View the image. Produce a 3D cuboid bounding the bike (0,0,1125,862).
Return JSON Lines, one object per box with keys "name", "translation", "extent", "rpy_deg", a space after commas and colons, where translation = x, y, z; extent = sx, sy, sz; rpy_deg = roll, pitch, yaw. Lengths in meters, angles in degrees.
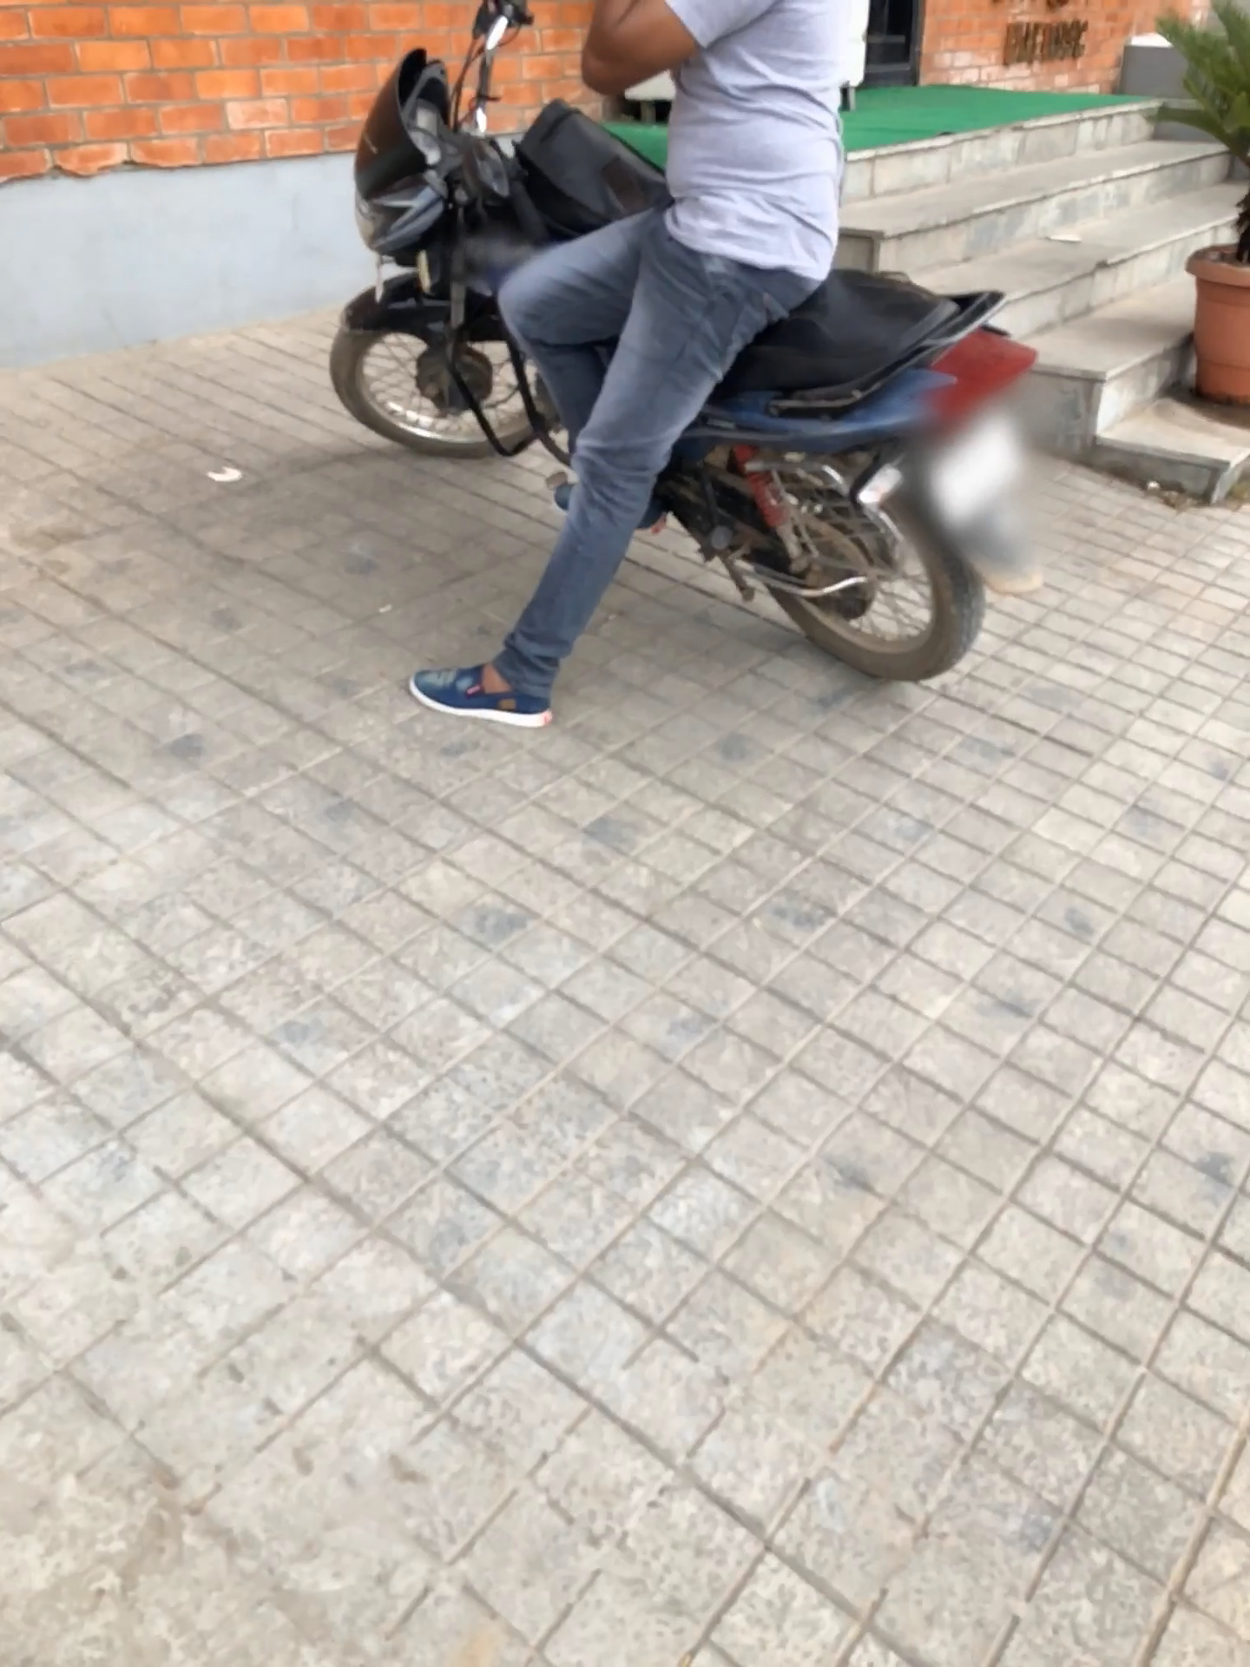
{"name": "bike", "translation": [-0.222, -1.053, 2.652], "extent": [1.821, 1.344, 0.816], "rpy_deg": [27, 41, 30]}
